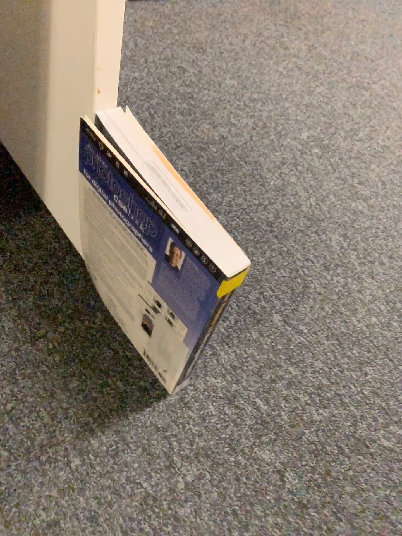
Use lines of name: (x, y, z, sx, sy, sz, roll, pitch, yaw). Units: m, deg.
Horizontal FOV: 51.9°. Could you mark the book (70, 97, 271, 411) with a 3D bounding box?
book: (-0.062, 0.007, 0.441, 0.052, 0.275, 0.212, -26, 65, -30)
